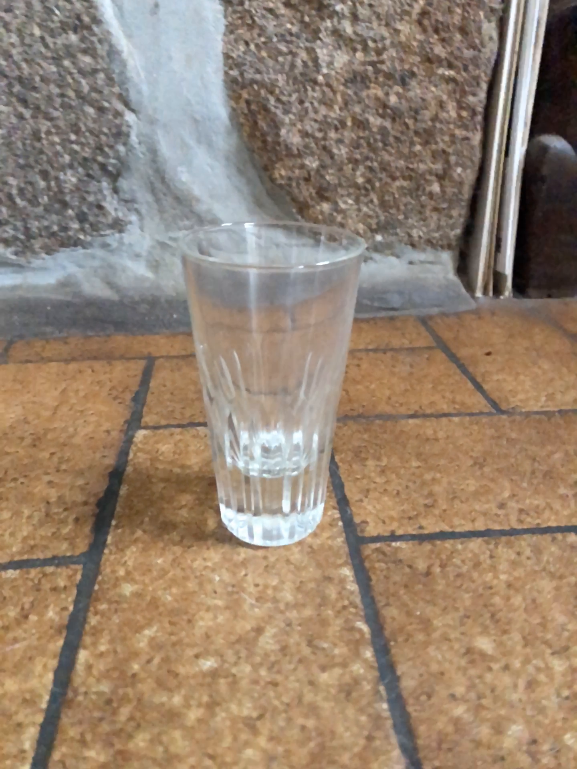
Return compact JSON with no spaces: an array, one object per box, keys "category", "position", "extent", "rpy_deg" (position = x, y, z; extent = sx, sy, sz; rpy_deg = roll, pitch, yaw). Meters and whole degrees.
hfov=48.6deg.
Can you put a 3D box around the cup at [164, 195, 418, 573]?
[{"category":"cup","position":[-0.004,-0.005,0.246],"extent":[0.070,0.119,0.070],"rpy_deg":[0,25,0]}]
